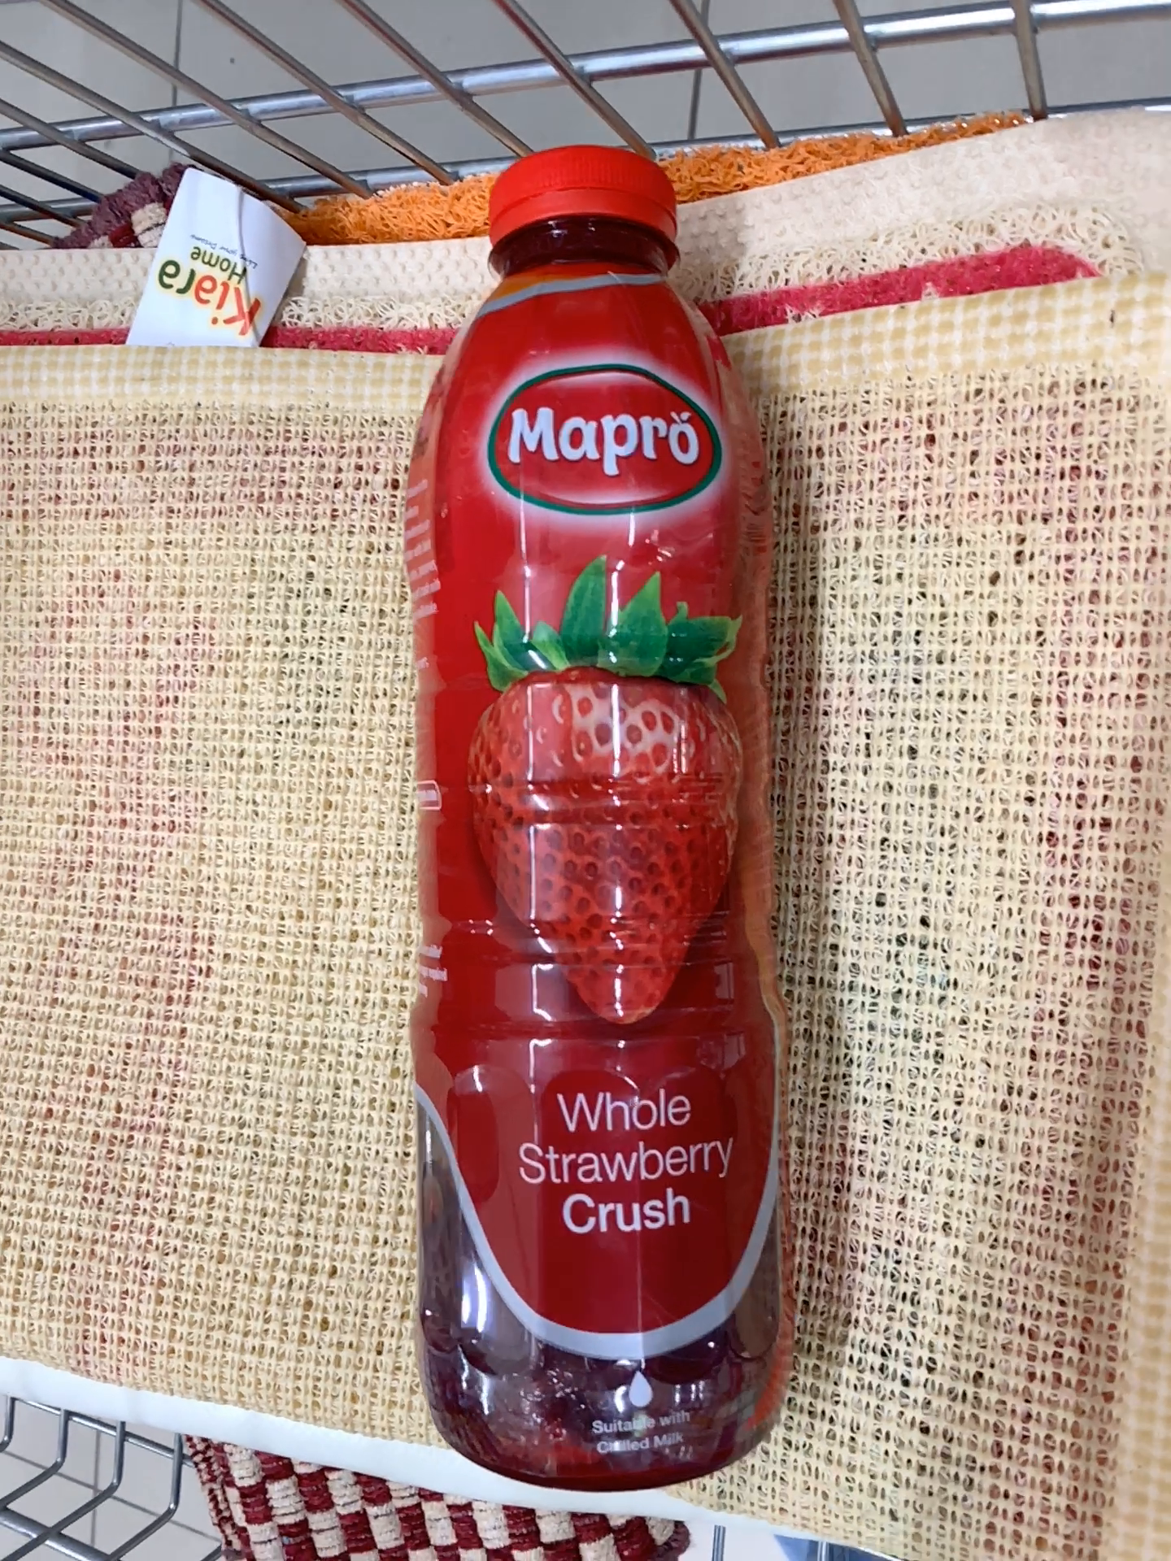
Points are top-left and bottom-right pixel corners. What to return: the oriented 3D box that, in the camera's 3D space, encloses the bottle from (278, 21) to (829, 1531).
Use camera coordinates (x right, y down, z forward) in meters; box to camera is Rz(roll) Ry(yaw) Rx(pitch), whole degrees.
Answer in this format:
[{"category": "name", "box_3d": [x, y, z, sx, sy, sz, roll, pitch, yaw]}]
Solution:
[{"category": "bottle", "box_3d": [-0.007, 0.002, 0.239, 0.090, 0.070, 0.250, -1, 93, -6]}]
